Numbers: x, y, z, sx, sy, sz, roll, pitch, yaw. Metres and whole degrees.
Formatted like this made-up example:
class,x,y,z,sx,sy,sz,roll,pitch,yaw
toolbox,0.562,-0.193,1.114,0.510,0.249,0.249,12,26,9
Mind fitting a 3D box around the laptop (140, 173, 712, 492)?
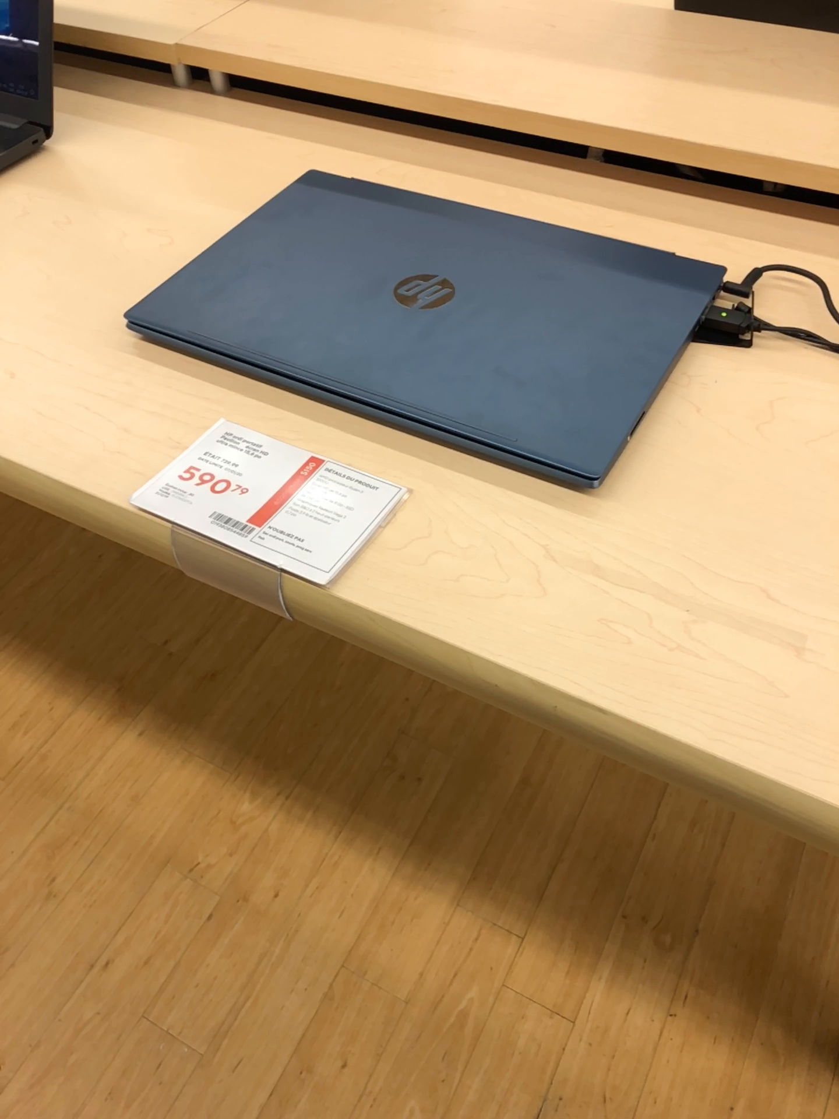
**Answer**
class,x,y,z,sx,sy,sz,roll,pitch,yaw
laptop,0.001,-0.183,0.660,0.353,0.012,0.220,22,57,23
